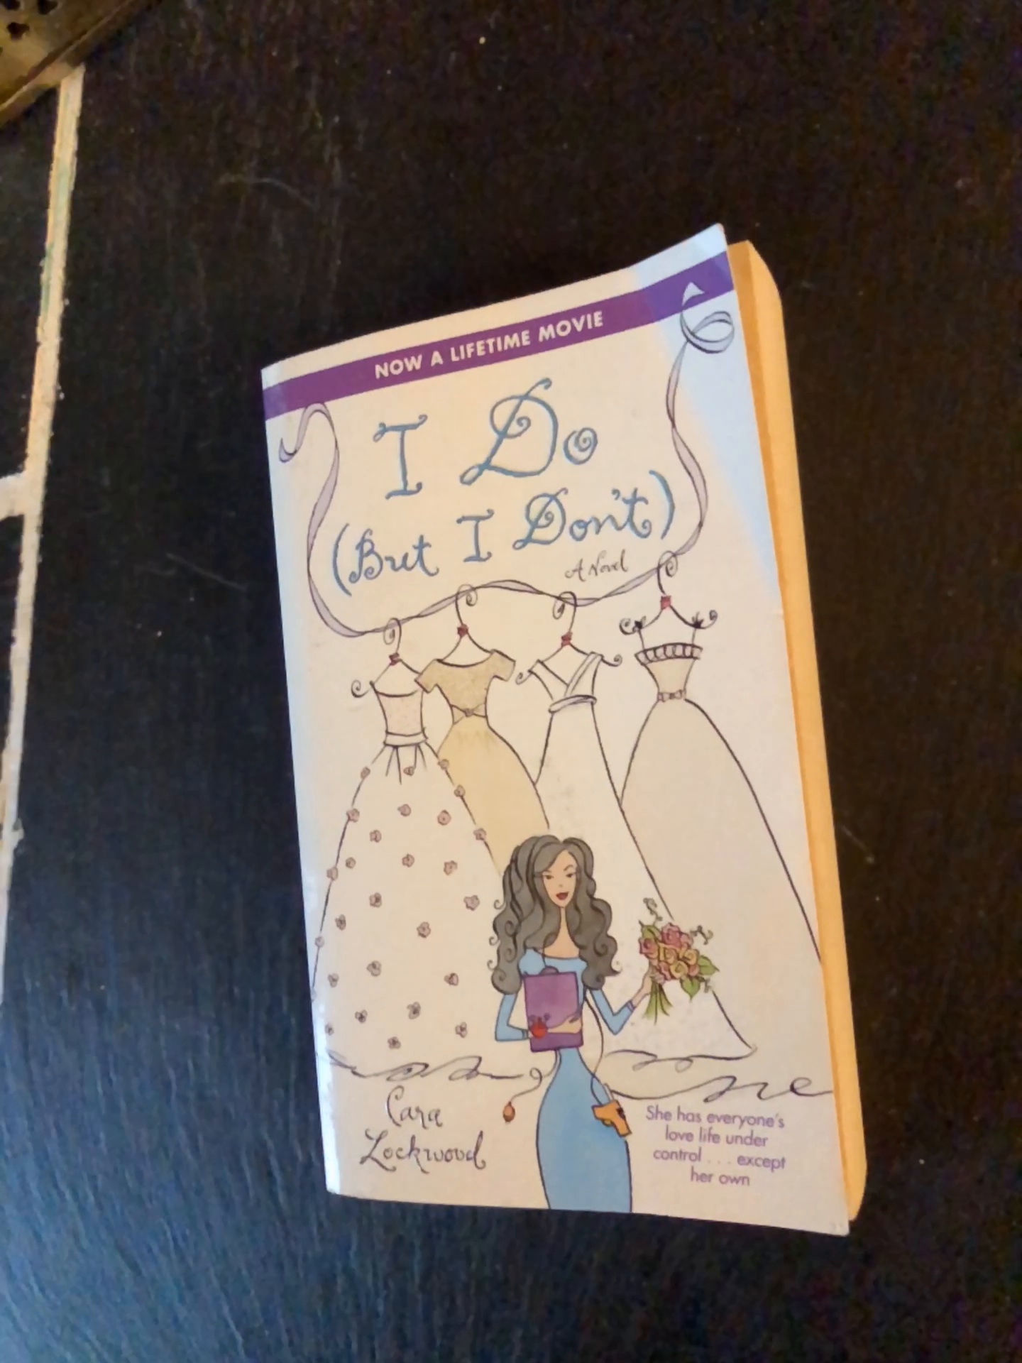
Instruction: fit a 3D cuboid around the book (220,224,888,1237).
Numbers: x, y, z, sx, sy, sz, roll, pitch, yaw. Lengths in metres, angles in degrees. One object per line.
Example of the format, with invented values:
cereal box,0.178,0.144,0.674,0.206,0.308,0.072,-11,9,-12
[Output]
book,0.005,0.012,0.221,0.111,0.032,0.164,-6,87,23
